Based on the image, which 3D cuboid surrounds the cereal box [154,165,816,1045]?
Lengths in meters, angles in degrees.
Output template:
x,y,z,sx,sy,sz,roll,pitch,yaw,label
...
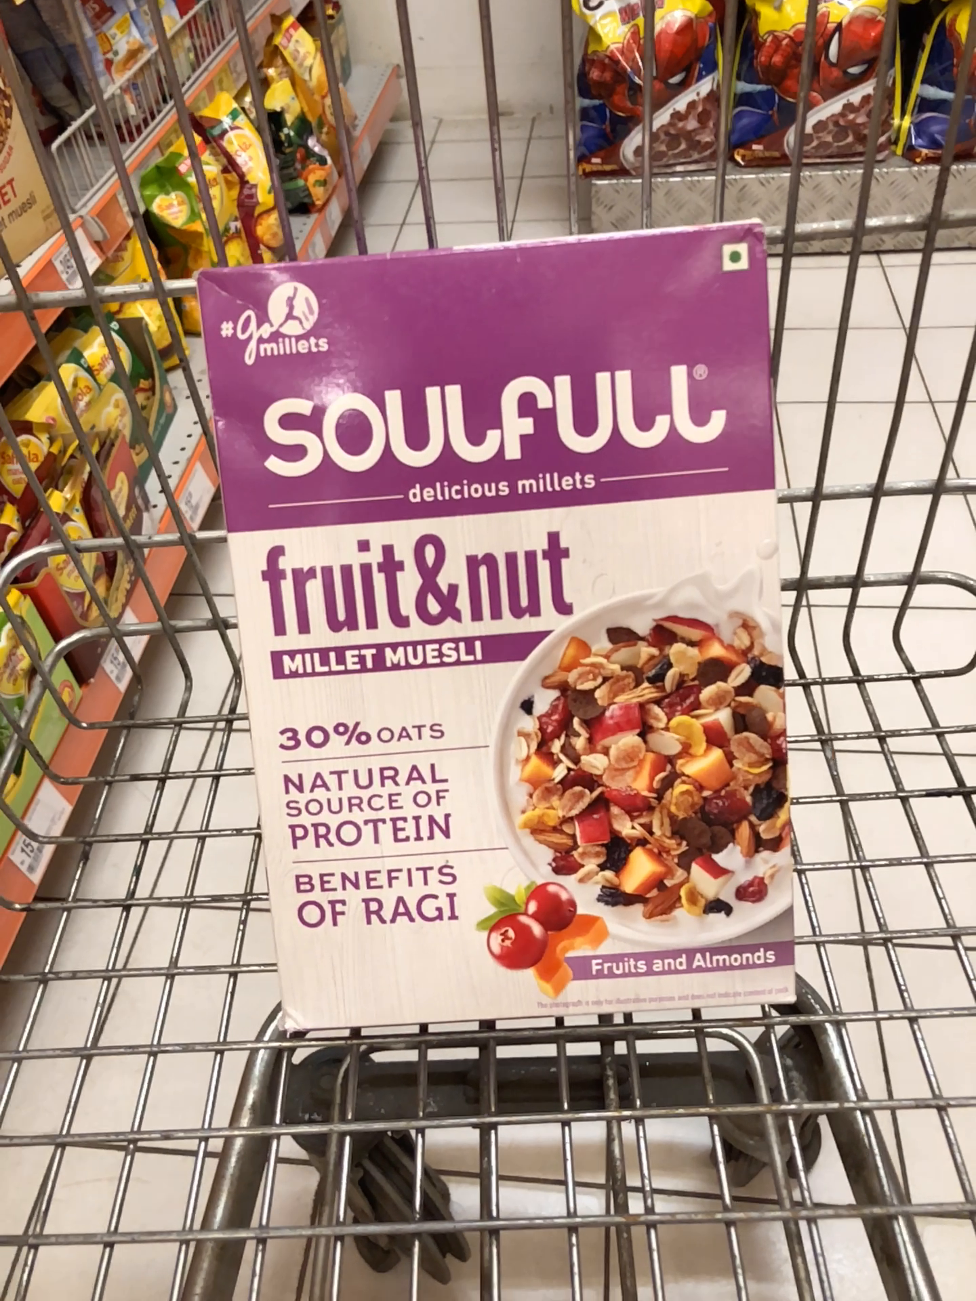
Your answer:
x,y,z,sx,sy,sz,roll,pitch,yaw,label
0.005,-0.010,0.341,0.170,0.240,0.070,-4,9,2,cereal box
